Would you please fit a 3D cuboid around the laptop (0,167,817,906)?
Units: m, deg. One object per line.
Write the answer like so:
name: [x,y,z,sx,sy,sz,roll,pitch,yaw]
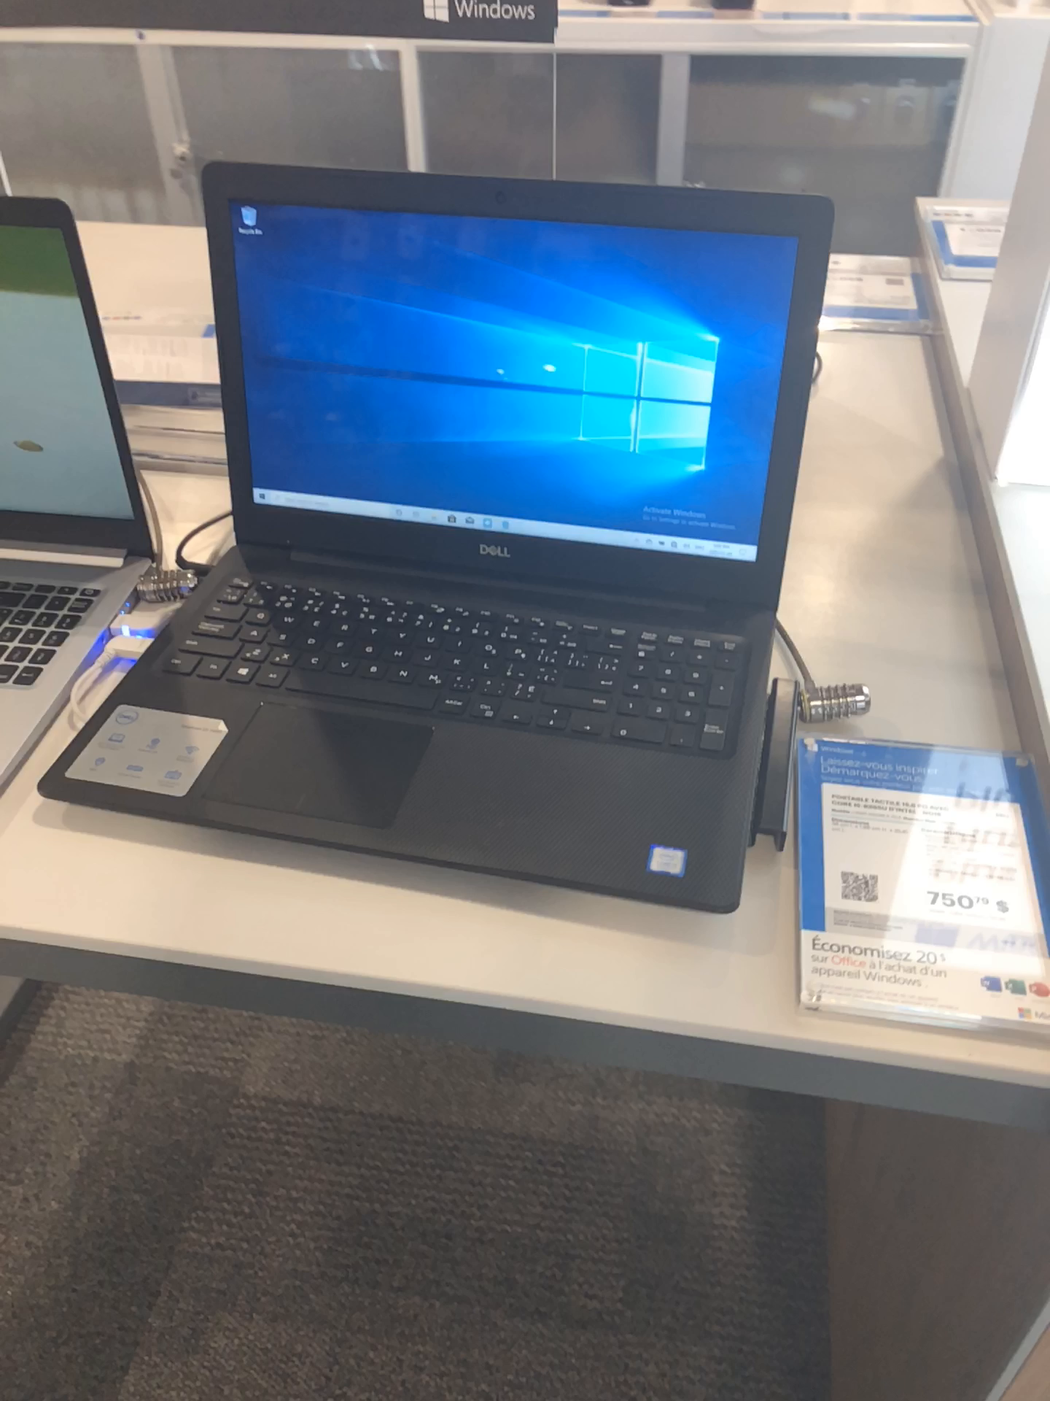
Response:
laptop: [-0.050,-0.114,0.631,0.368,0.230,0.311,8,40,11]
